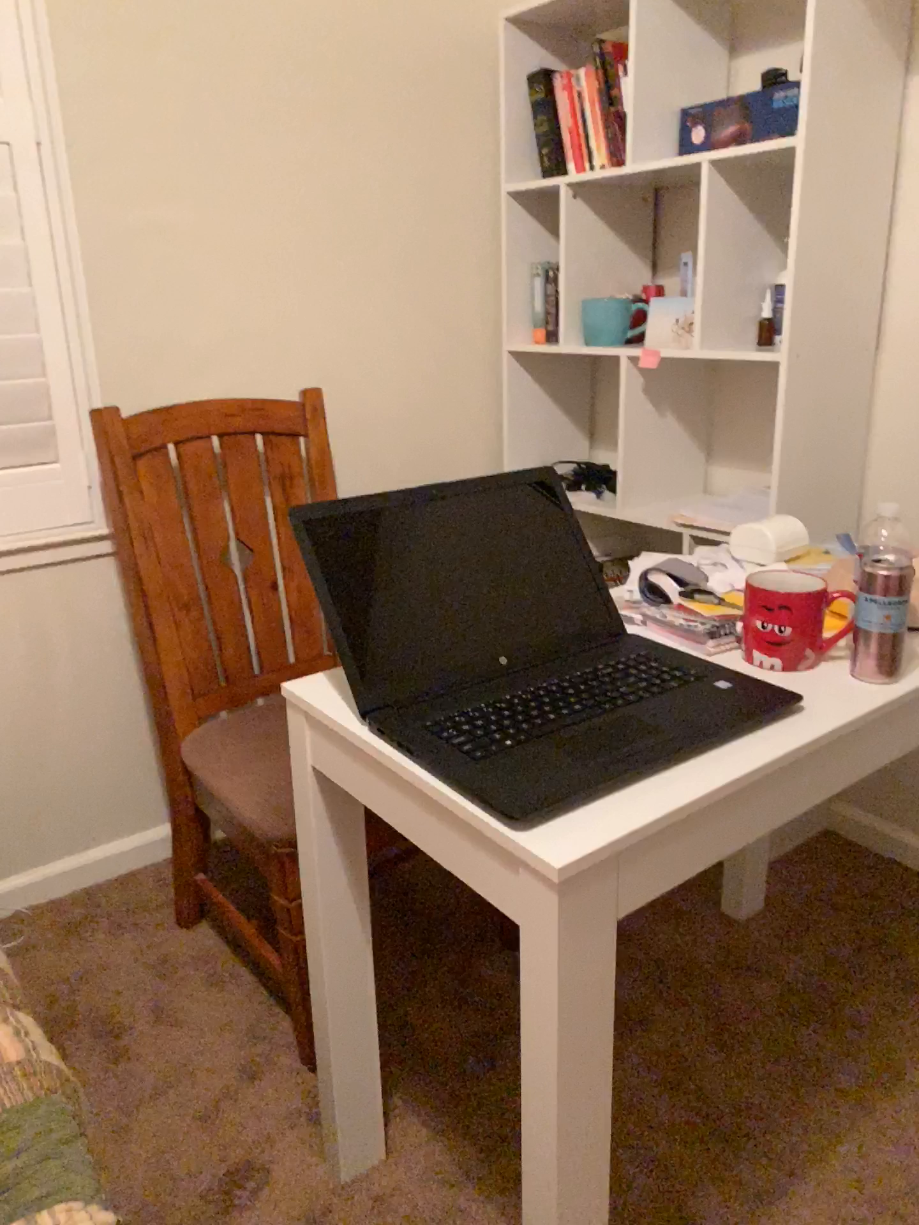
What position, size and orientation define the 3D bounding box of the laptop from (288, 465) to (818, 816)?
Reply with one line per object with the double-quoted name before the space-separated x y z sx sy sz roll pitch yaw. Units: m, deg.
"laptop" 0.090 -0.014 1.053 0.401 0.197 0.417 -14 23 -33
